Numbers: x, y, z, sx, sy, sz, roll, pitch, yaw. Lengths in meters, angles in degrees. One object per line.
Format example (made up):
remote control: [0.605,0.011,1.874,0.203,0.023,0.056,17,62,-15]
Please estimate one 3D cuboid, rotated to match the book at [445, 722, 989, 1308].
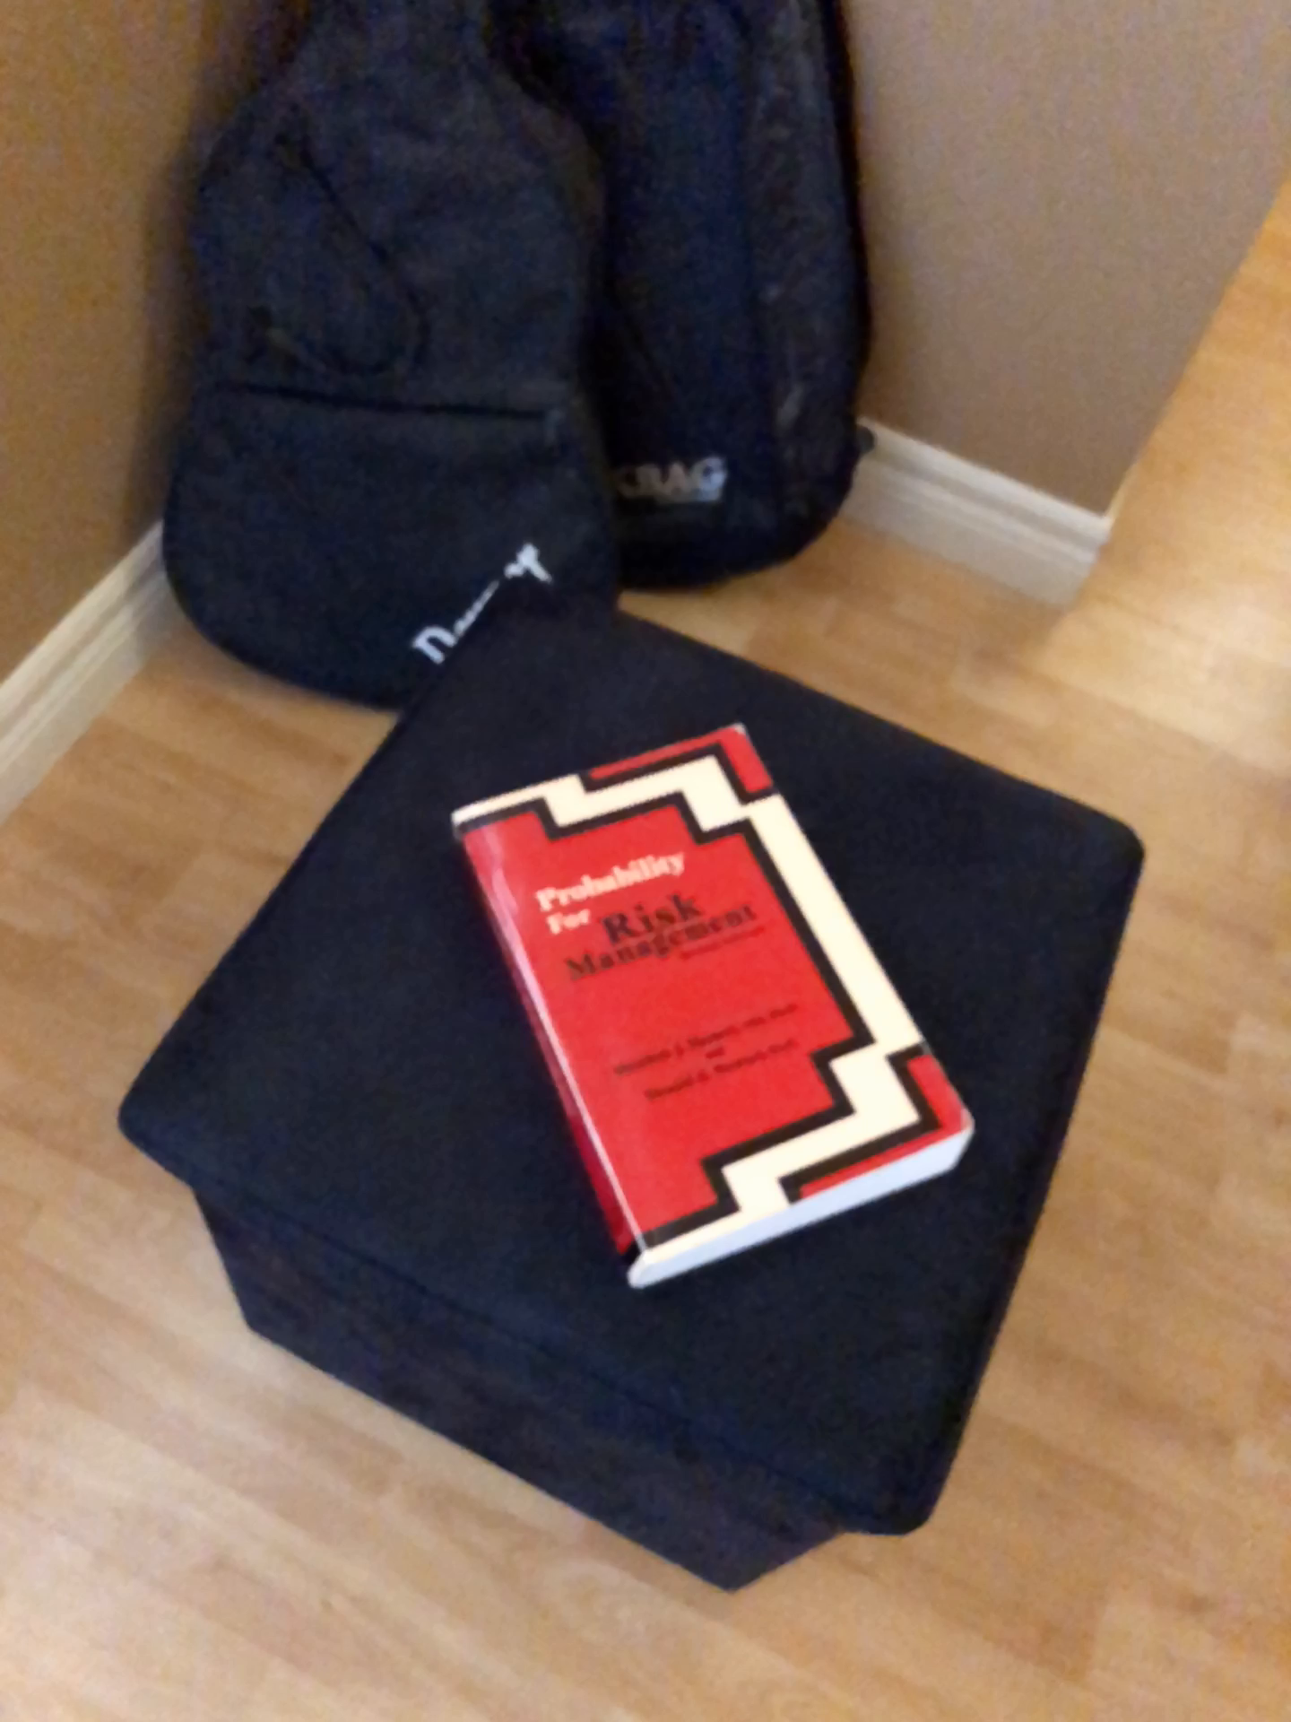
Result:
book: [0.022,0.054,0.608,0.150,0.042,0.215,-17,62,-17]
